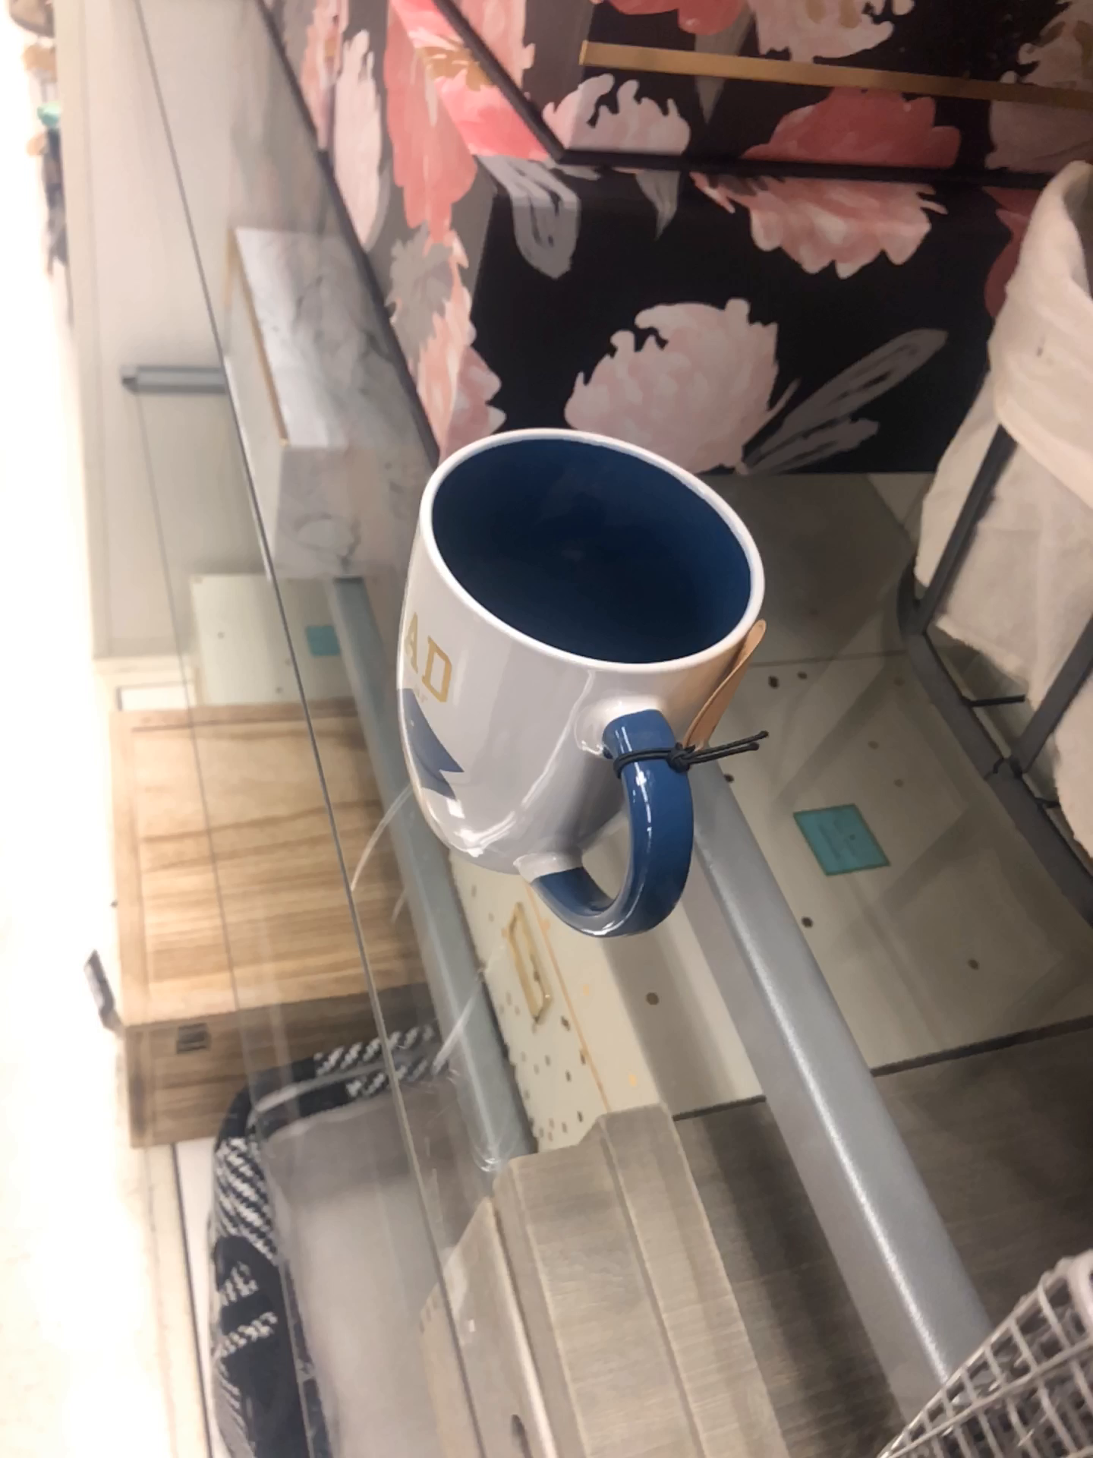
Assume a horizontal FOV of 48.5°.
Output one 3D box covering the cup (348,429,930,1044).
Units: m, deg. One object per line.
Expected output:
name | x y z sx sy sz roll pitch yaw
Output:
cup | 0.013 -0.003 0.367 0.116 0.096 0.150 -3 50 -19
